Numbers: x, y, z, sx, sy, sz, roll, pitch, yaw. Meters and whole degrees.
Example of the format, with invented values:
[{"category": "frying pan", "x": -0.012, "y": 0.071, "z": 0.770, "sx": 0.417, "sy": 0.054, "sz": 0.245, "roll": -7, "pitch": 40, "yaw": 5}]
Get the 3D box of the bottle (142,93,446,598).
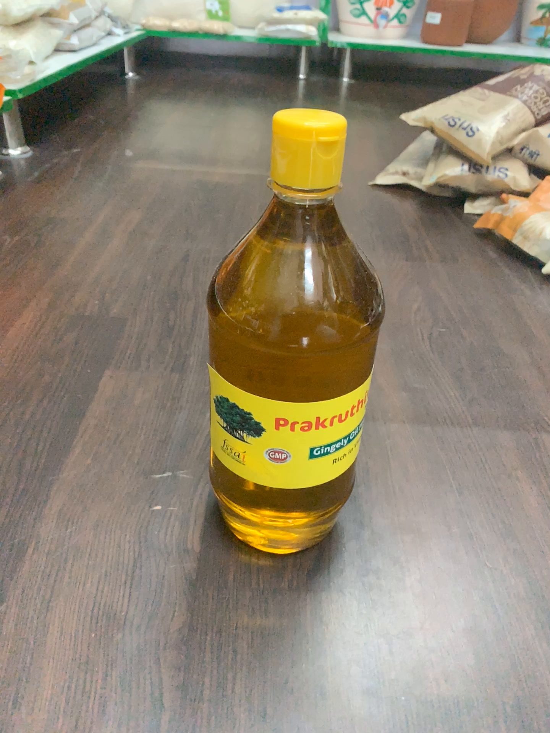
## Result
[{"category": "bottle", "x": 0.007, "y": -0.004, "z": 0.283, "sx": 0.090, "sy": 0.219, "sz": 0.090, "roll": 2, "pitch": 35, "yaw": -2}]
